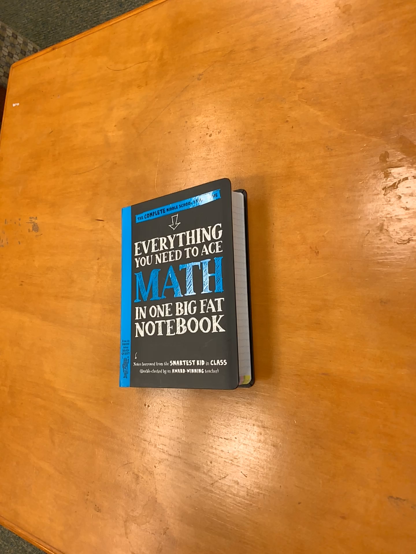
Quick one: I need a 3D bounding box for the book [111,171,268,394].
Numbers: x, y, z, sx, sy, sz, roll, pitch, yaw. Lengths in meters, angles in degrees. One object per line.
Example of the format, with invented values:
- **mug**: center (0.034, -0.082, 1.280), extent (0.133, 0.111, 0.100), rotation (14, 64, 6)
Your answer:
- **book**: center (-0.026, 0.012, 0.456), extent (0.158, 0.050, 0.208), rotation (-7, 82, 31)
